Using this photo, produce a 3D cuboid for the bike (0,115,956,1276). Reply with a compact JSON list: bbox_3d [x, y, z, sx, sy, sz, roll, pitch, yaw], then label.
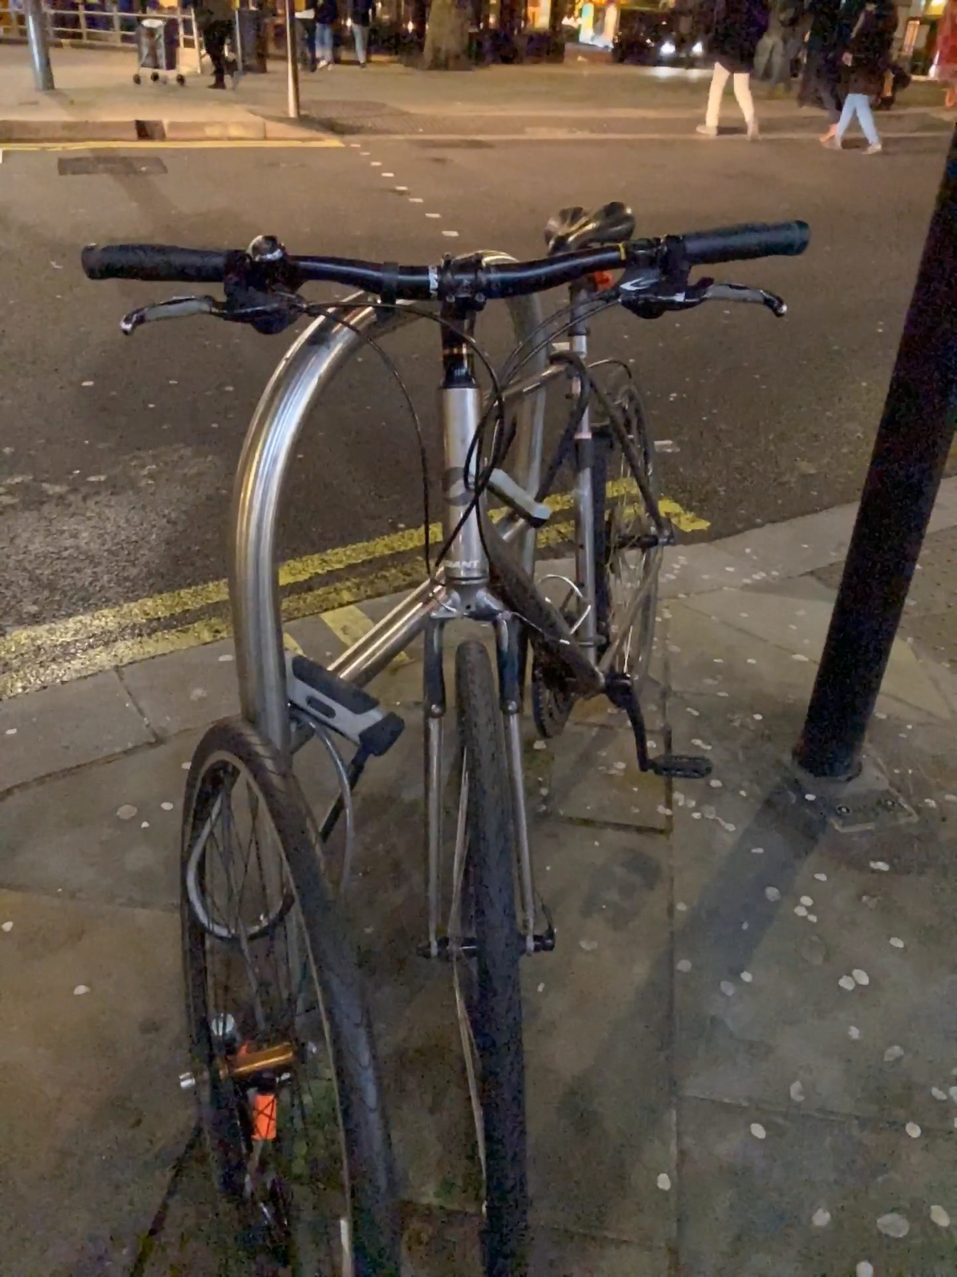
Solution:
[{"bbox_3d":[0.055,-0.119,1.511,0.708,1.124,1.830,8,32,10],"label":"bike"}]
